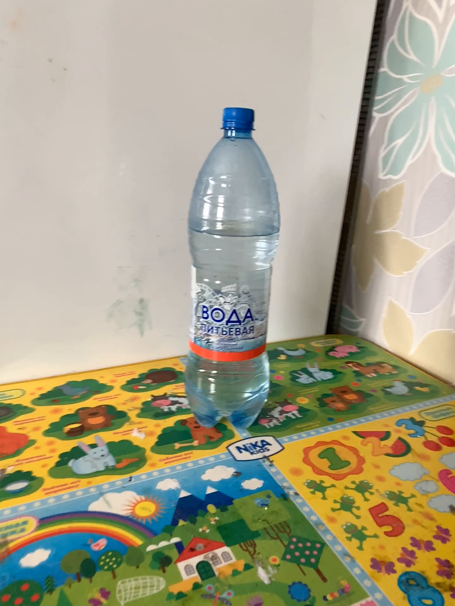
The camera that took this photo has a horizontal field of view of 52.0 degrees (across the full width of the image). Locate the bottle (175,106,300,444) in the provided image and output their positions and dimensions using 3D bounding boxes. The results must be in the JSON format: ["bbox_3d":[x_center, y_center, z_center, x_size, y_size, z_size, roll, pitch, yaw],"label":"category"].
[{"bbox_3d":[0.005,-0.025,0.480,0.100,0.318,0.101,2,18,-1],"label":"bottle"}]
